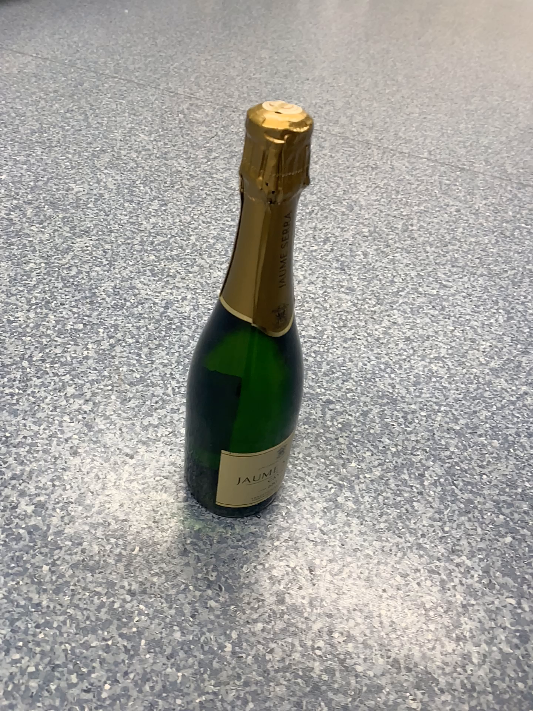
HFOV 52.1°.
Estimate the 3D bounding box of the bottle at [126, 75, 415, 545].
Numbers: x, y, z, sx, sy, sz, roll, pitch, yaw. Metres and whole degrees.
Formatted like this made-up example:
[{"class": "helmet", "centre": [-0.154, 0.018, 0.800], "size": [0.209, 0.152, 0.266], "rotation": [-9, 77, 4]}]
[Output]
[{"class": "bottle", "centre": [-0.013, -0.012, 0.373], "size": [0.105, 0.291, 0.104], "rotation": [5, 43, -5]}]
